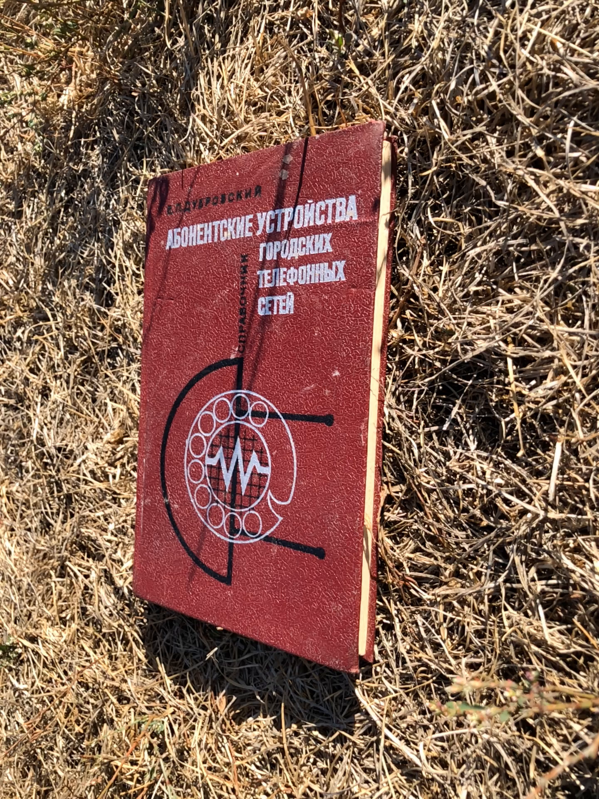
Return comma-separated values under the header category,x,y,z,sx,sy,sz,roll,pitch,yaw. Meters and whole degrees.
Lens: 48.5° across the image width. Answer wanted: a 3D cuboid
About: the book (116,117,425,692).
category,x,y,z,sx,sy,sz,roll,pitch,yaw
book,-0.021,-0.001,0.298,0.142,0.030,0.211,4,92,37
